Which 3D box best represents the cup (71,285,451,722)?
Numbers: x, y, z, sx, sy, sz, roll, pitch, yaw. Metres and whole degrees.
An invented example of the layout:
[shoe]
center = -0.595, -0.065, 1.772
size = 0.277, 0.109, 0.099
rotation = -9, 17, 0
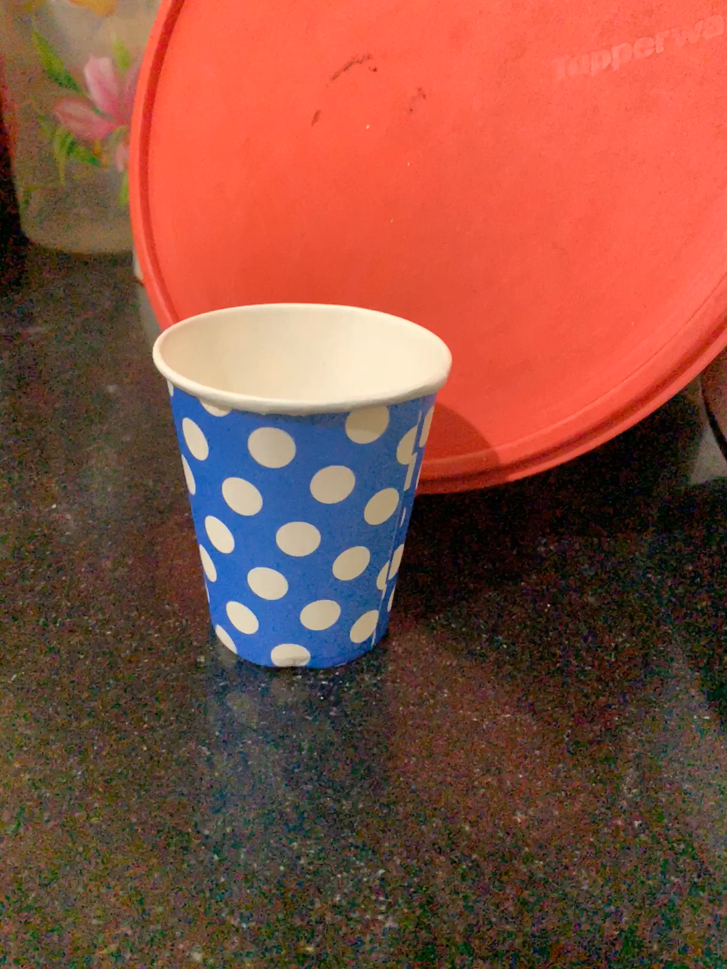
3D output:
[cup]
center = -0.021, 0.000, 0.199
size = 0.070, 0.079, 0.071
rotation = 3, 28, -2
